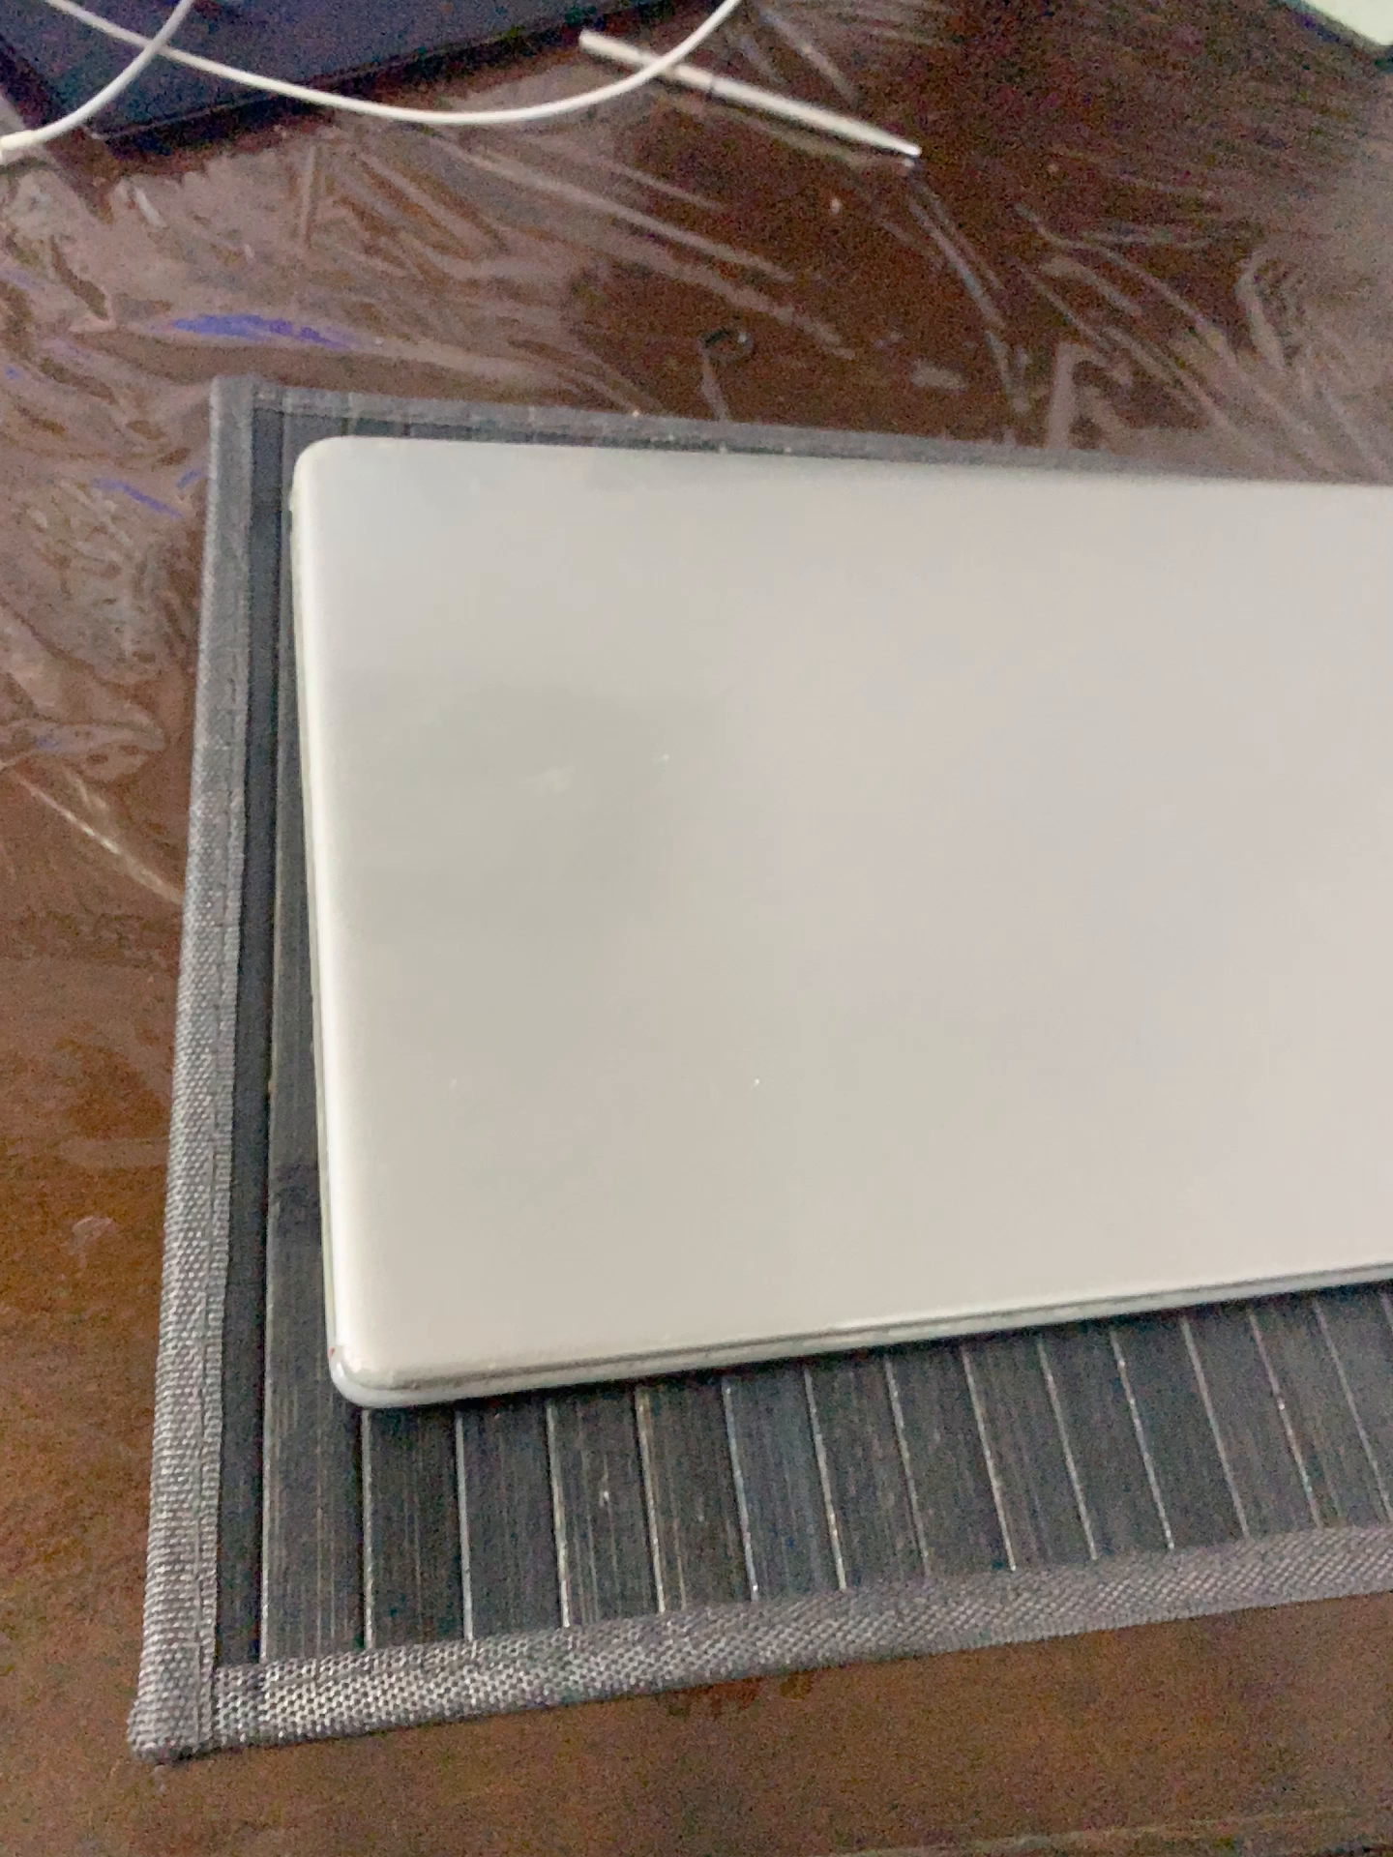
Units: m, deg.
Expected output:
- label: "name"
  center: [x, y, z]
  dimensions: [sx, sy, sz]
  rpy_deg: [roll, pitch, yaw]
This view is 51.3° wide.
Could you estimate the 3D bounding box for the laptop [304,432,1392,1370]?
- label: "laptop"
  center: [0.086, -0.028, 0.344]
  dimensions: [0.335, 0.002, 0.224]
  rpy_deg: [-2, 60, -17]
